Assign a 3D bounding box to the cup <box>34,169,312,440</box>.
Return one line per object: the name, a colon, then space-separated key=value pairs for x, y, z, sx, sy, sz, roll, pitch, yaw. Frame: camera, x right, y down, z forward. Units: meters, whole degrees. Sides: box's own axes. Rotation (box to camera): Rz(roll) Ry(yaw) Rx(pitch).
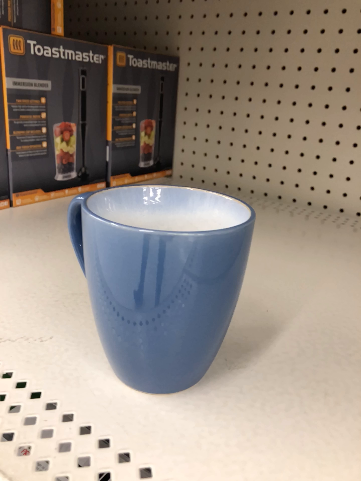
cup: x=-0.006 y=0.021 z=0.246 sx=0.128 sy=0.098 sz=0.097 roll=18 pitch=24 yaw=32
